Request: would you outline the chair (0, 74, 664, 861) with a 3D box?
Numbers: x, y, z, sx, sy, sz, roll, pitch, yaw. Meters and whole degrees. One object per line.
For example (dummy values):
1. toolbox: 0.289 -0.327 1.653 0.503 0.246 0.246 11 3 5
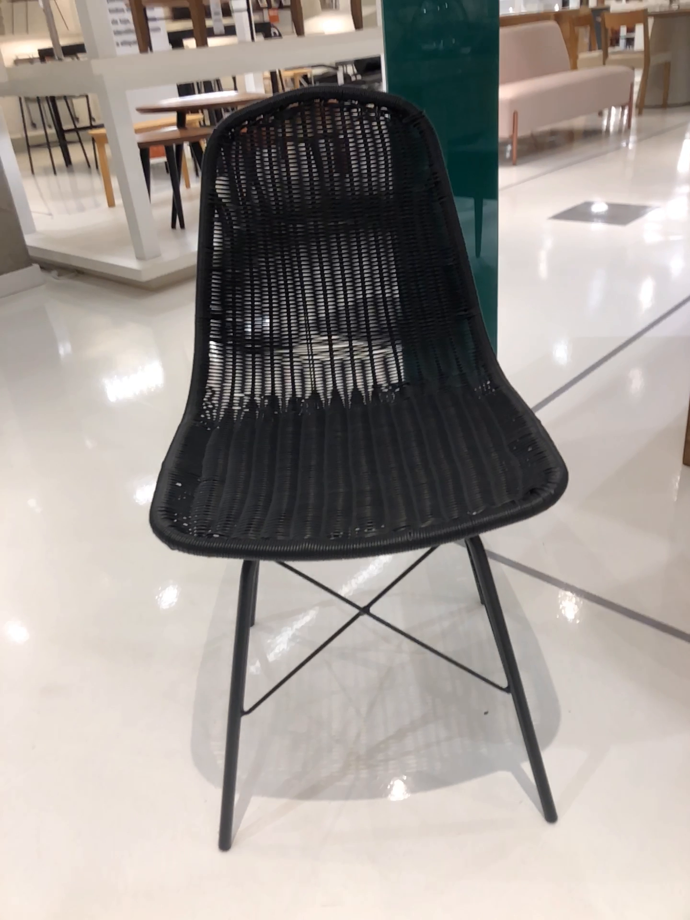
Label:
1. chair: 0.013 -0.018 0.973 0.480 0.794 0.554 -6 29 0
